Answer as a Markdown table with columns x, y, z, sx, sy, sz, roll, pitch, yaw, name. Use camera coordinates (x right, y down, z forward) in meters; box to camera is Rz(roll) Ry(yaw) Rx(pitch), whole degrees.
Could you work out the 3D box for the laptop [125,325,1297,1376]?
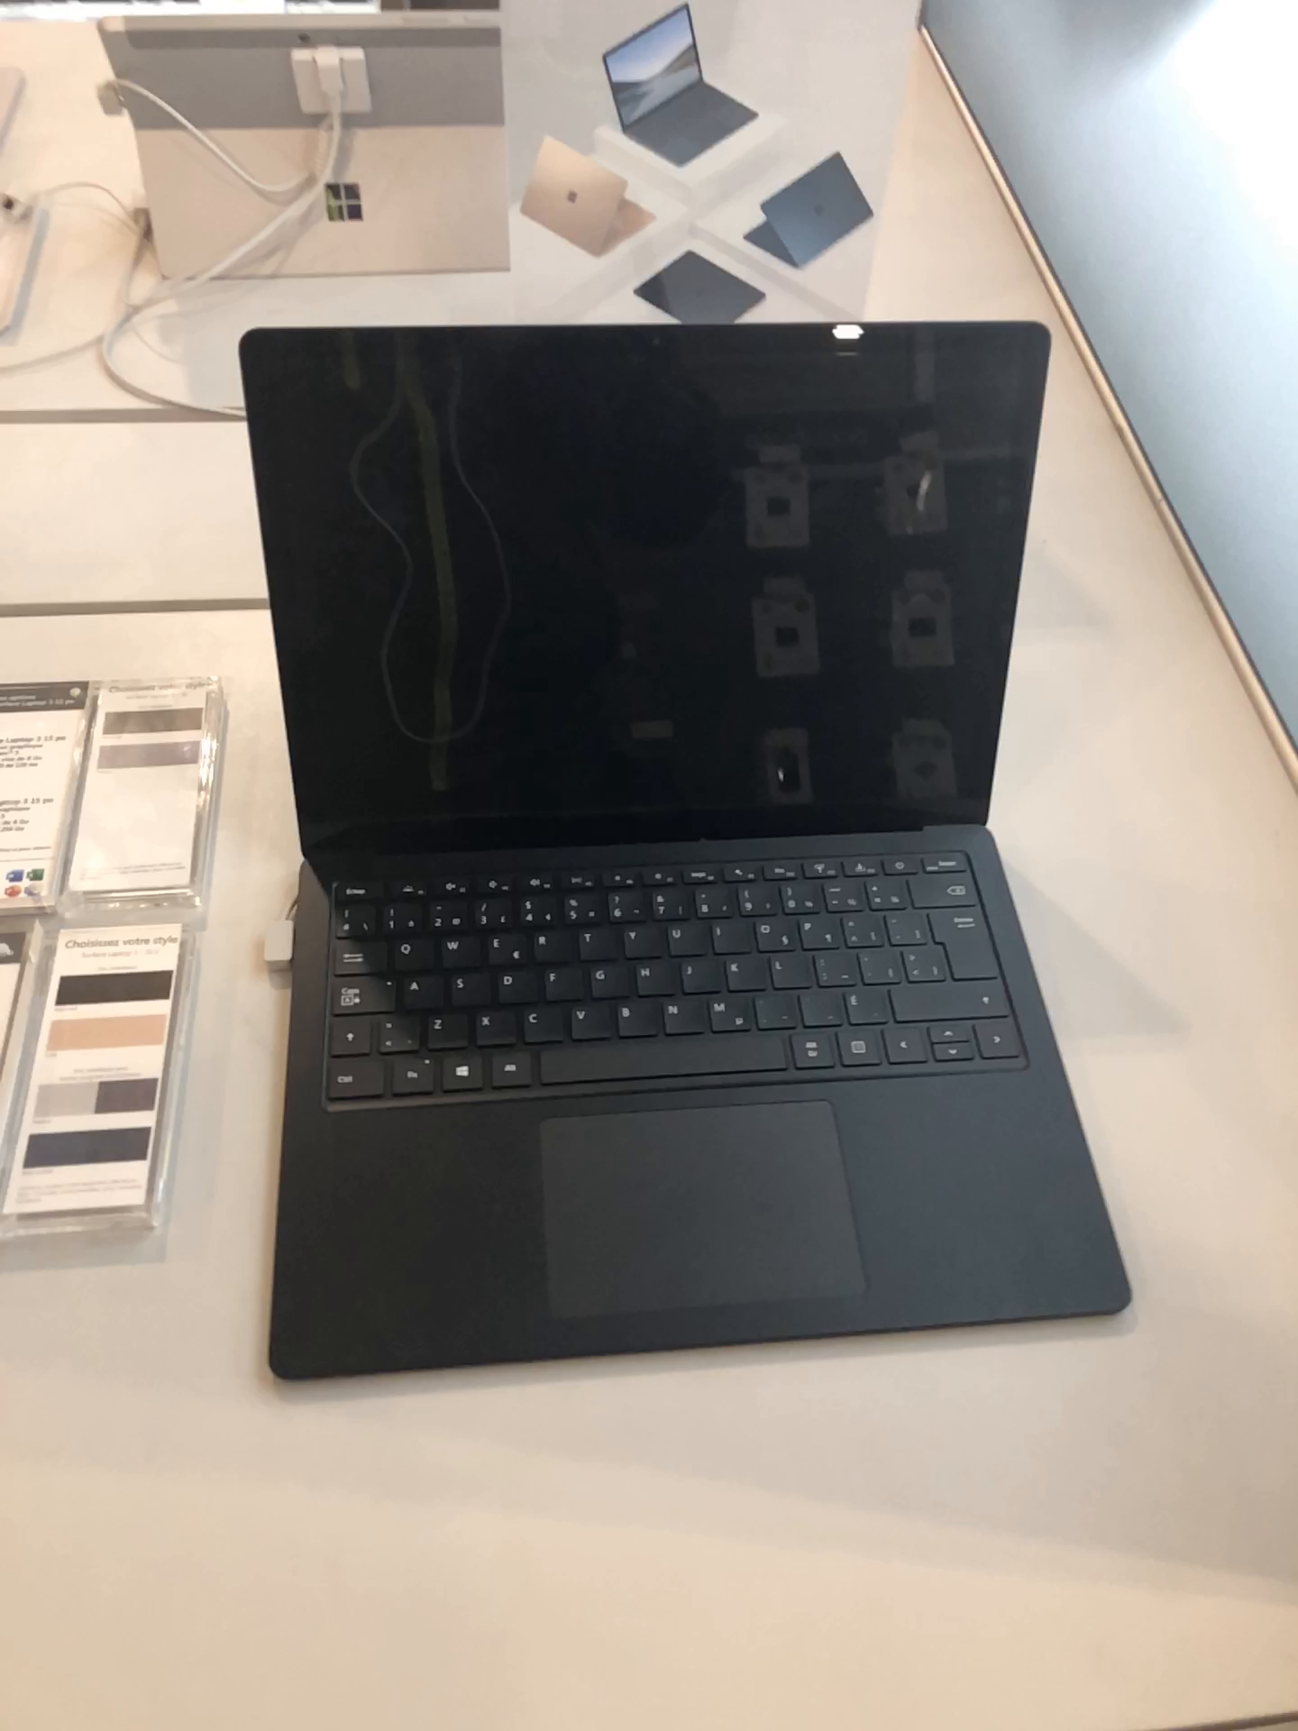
| x | y | z | sx | sy | sz | roll | pitch | yaw | name |
| --- | --- | --- | --- | --- | --- | --- | --- | --- | --- |
| 0.012 | -0.019 | 0.520 | 0.308 | 0.197 | 0.314 | -3 | 52 | -6 | laptop |
